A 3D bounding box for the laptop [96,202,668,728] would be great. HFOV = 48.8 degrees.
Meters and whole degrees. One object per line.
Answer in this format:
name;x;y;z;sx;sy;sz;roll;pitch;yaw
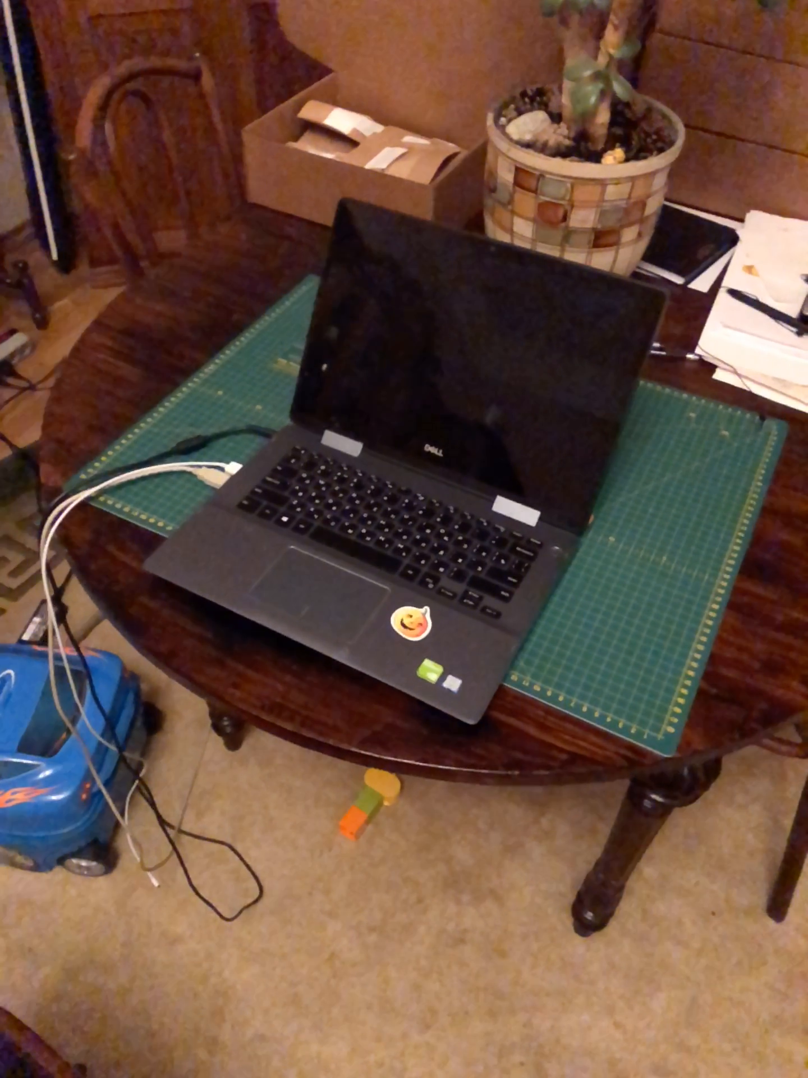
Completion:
laptop;-0.002;-0.088;0.761;0.321;0.192;0.338;23;50;18
